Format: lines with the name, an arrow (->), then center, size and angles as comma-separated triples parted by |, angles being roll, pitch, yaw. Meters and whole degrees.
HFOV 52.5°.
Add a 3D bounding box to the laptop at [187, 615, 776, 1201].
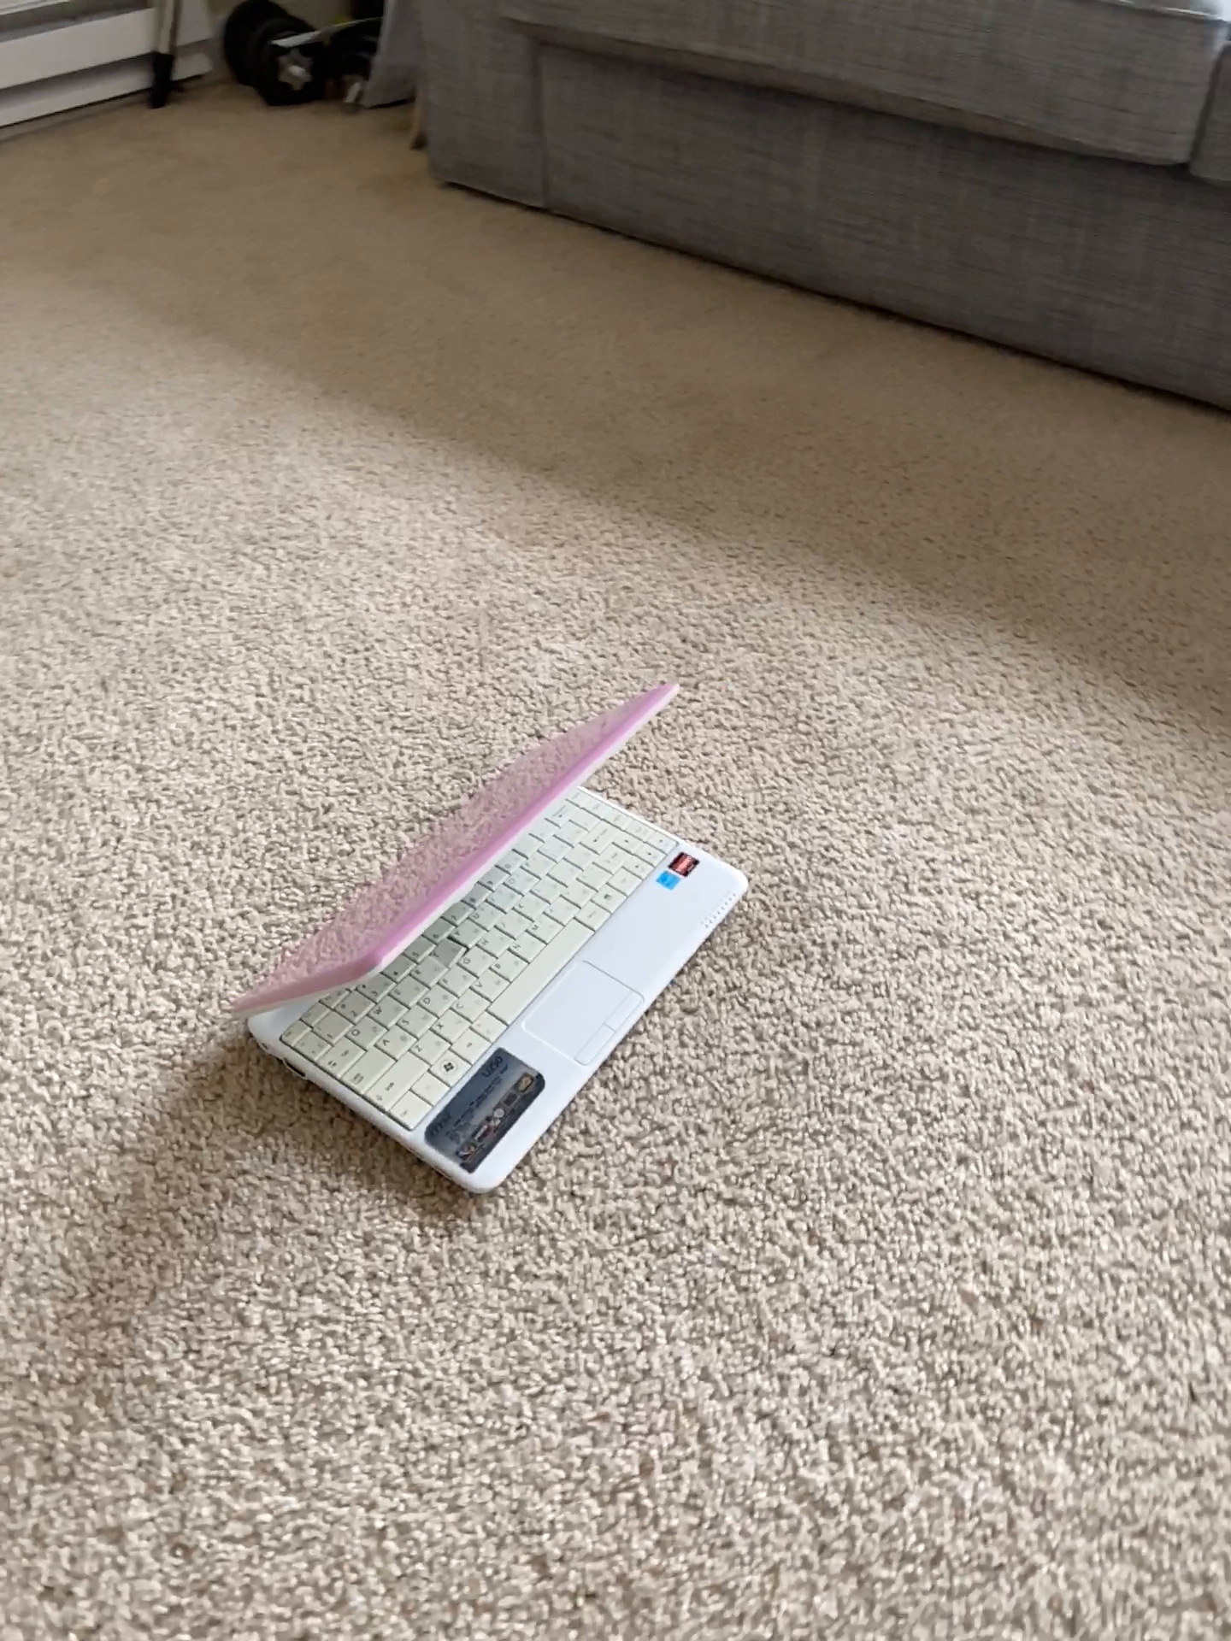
laptop -> -0.066, 0.035, 0.770 | 0.197, 0.122, 0.297 | 28, 51, 23
